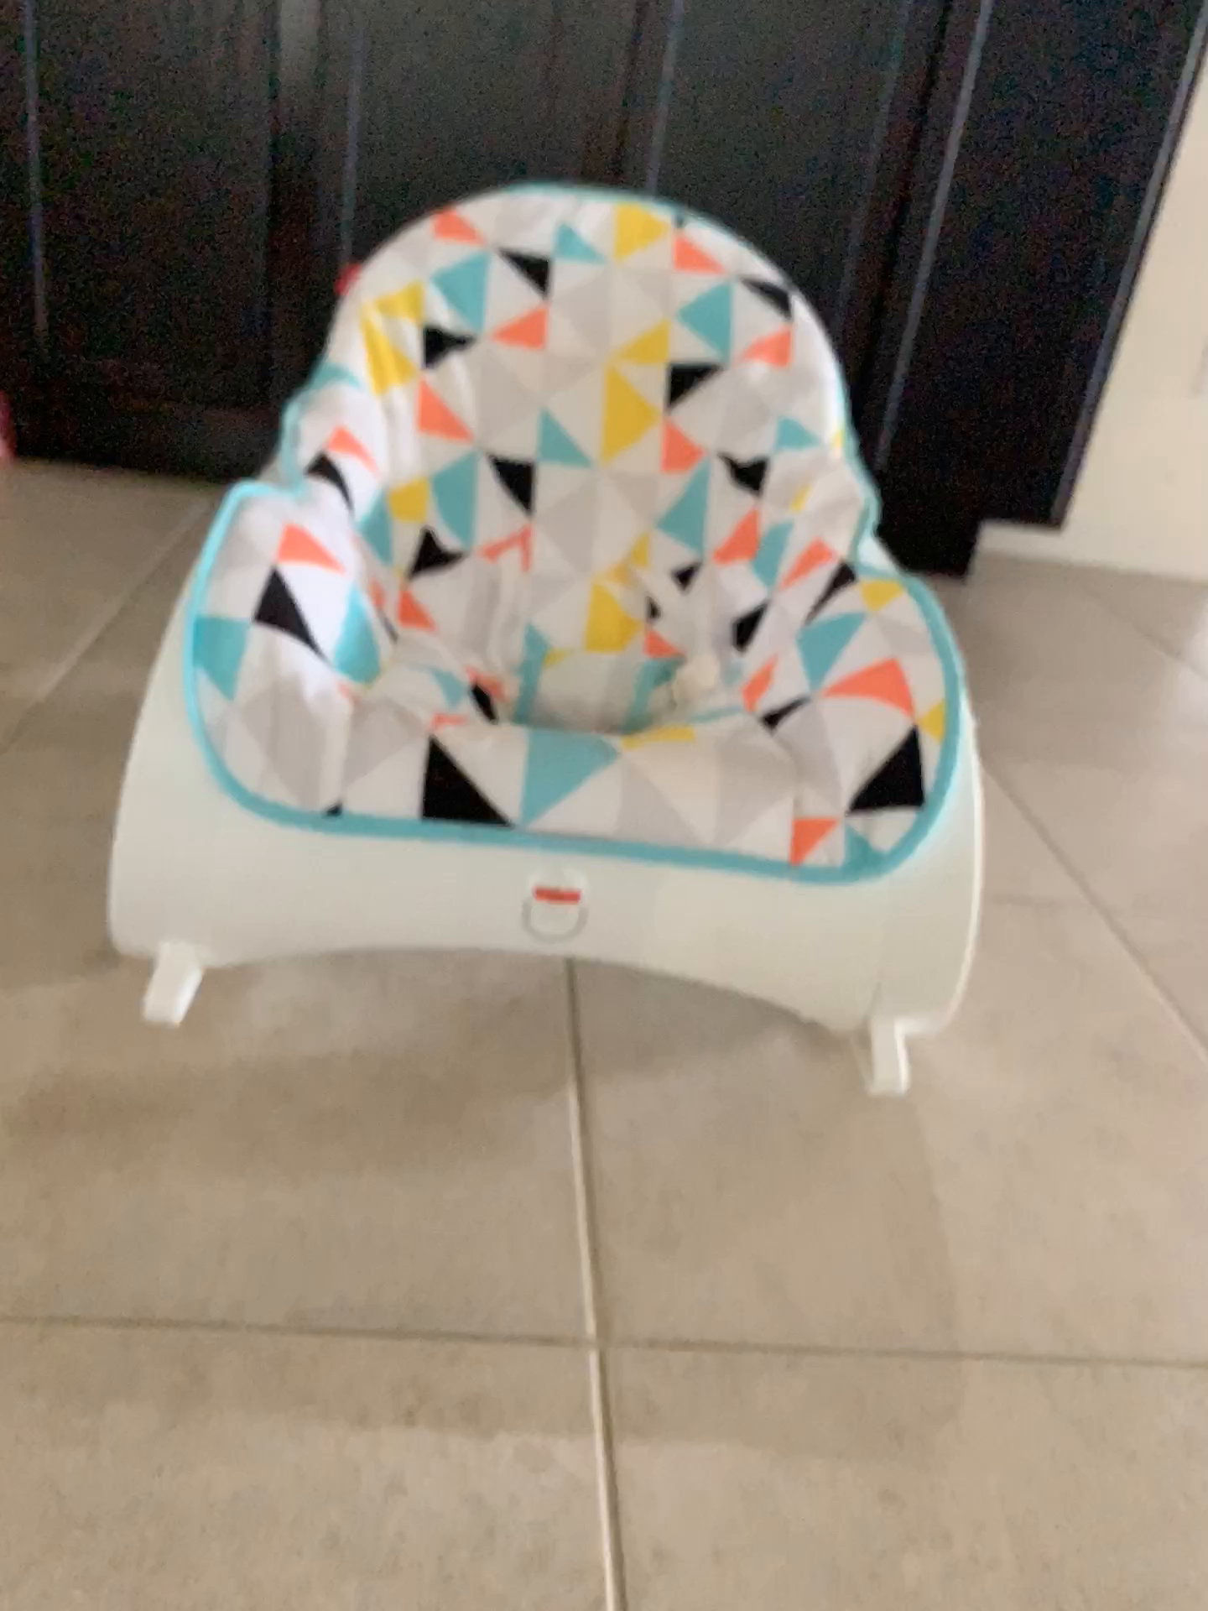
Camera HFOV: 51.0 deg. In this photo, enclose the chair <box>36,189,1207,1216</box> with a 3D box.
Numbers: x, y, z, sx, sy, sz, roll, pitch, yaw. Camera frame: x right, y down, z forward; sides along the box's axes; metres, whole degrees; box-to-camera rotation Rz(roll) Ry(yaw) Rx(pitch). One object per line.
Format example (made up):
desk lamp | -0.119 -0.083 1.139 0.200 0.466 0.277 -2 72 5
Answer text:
chair | -0.022 -0.157 0.977 0.530 0.485 0.737 6 27 -6
